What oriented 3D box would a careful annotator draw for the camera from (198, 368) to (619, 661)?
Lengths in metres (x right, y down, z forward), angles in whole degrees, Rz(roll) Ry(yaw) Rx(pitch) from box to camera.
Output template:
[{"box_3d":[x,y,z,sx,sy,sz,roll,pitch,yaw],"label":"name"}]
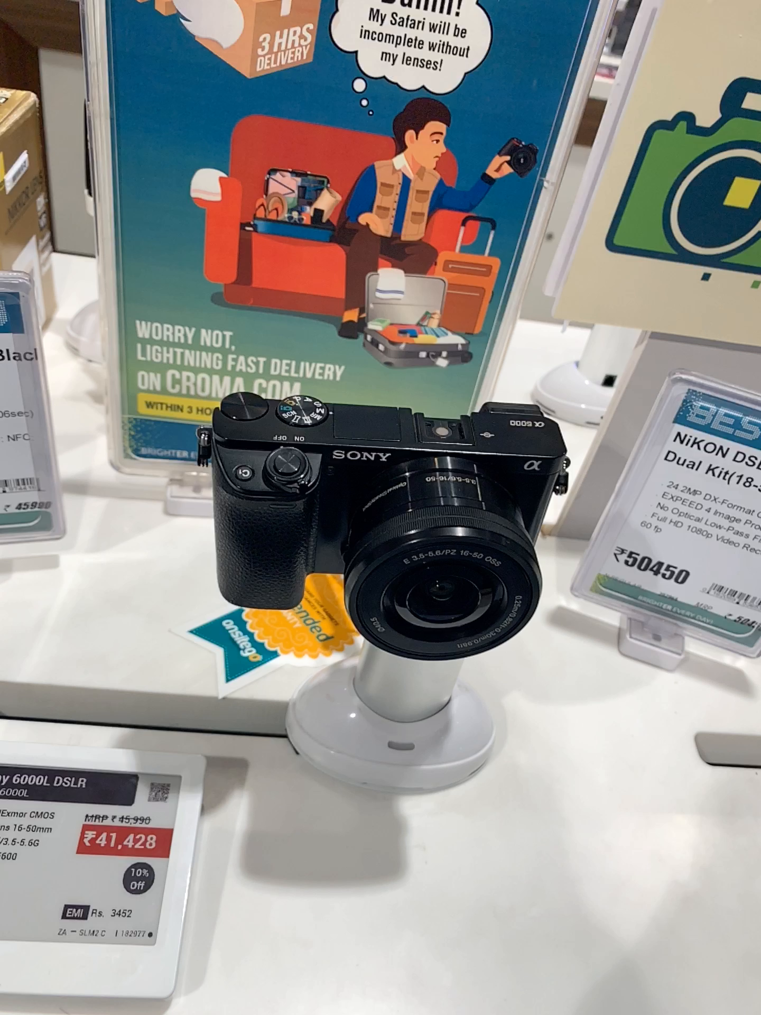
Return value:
[{"box_3d":[0.002,0.005,0.261,0.118,0.073,0.056,3,41,-12],"label":"camera"}]
